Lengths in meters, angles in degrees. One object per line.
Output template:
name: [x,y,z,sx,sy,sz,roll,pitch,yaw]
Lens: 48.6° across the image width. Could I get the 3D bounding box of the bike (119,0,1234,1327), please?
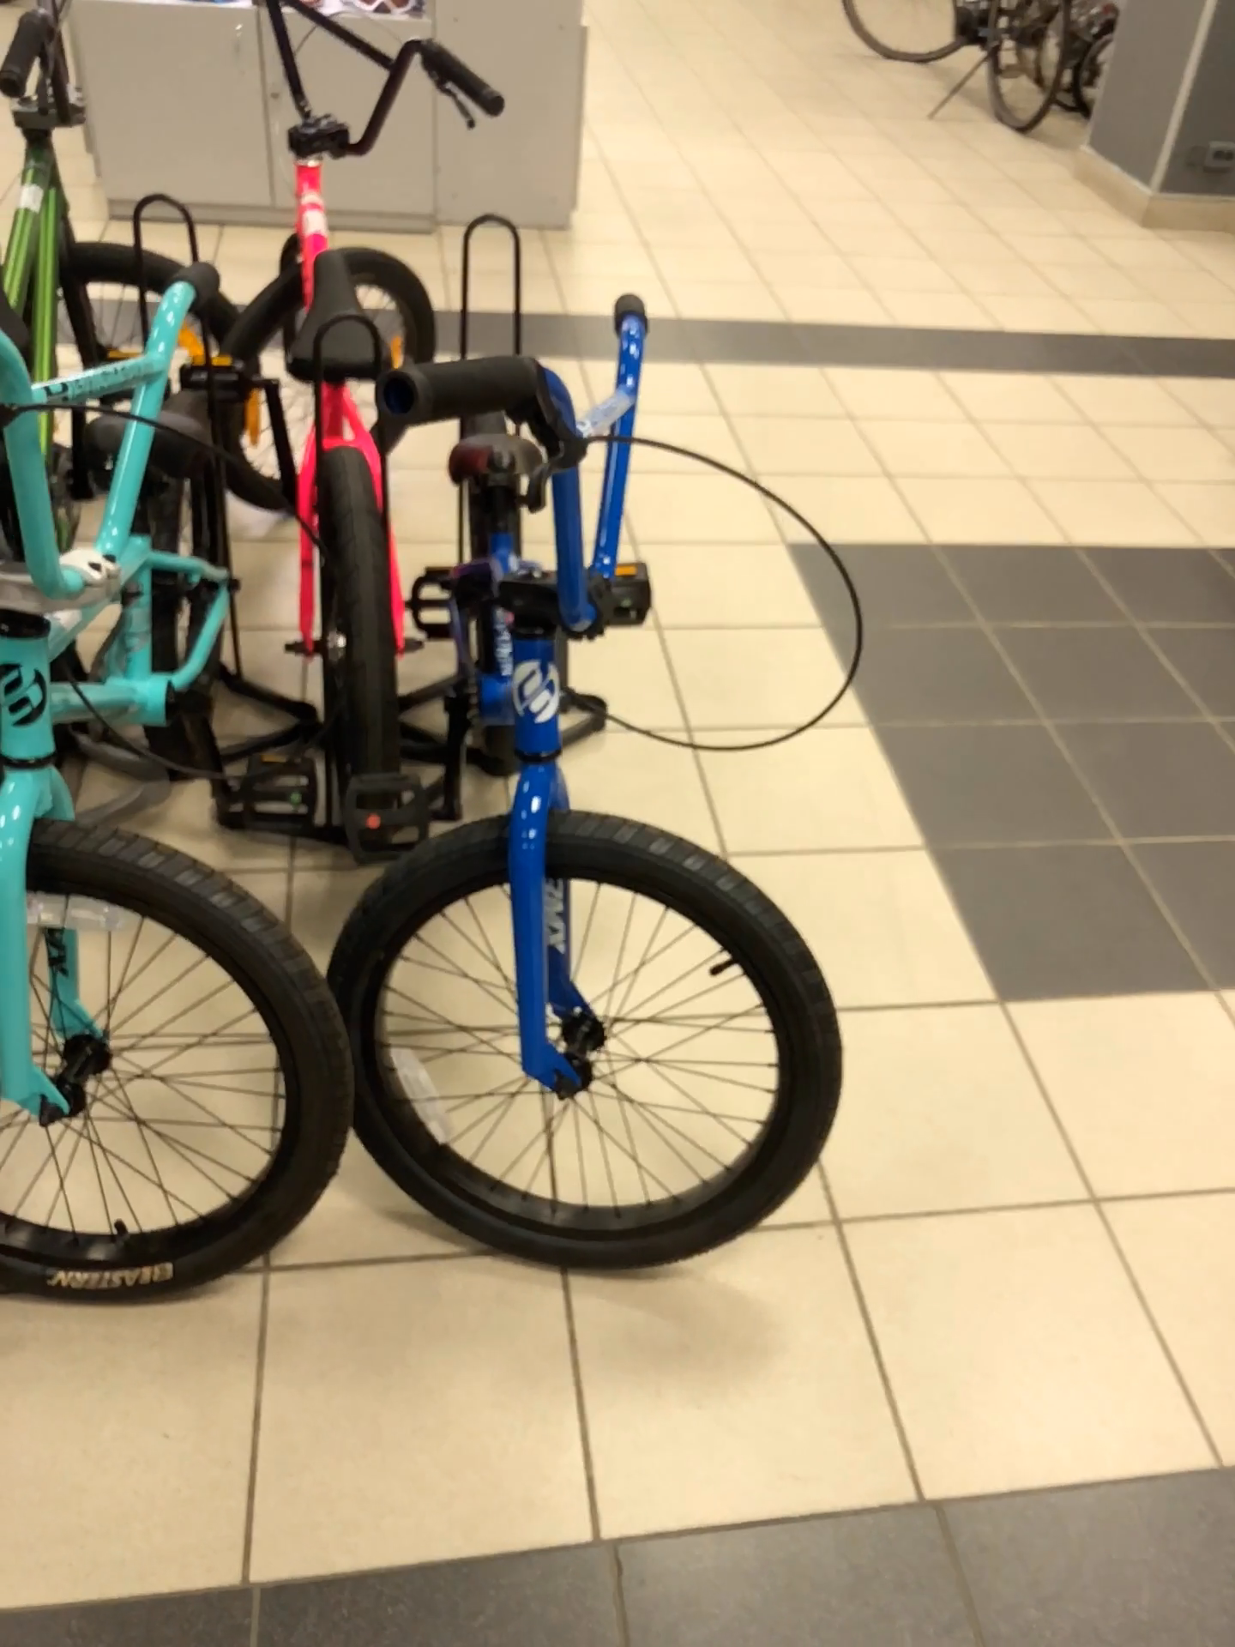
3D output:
bike: [-0.035,-0.287,1.575,0.821,0.961,1.263,-7,40,-16]
